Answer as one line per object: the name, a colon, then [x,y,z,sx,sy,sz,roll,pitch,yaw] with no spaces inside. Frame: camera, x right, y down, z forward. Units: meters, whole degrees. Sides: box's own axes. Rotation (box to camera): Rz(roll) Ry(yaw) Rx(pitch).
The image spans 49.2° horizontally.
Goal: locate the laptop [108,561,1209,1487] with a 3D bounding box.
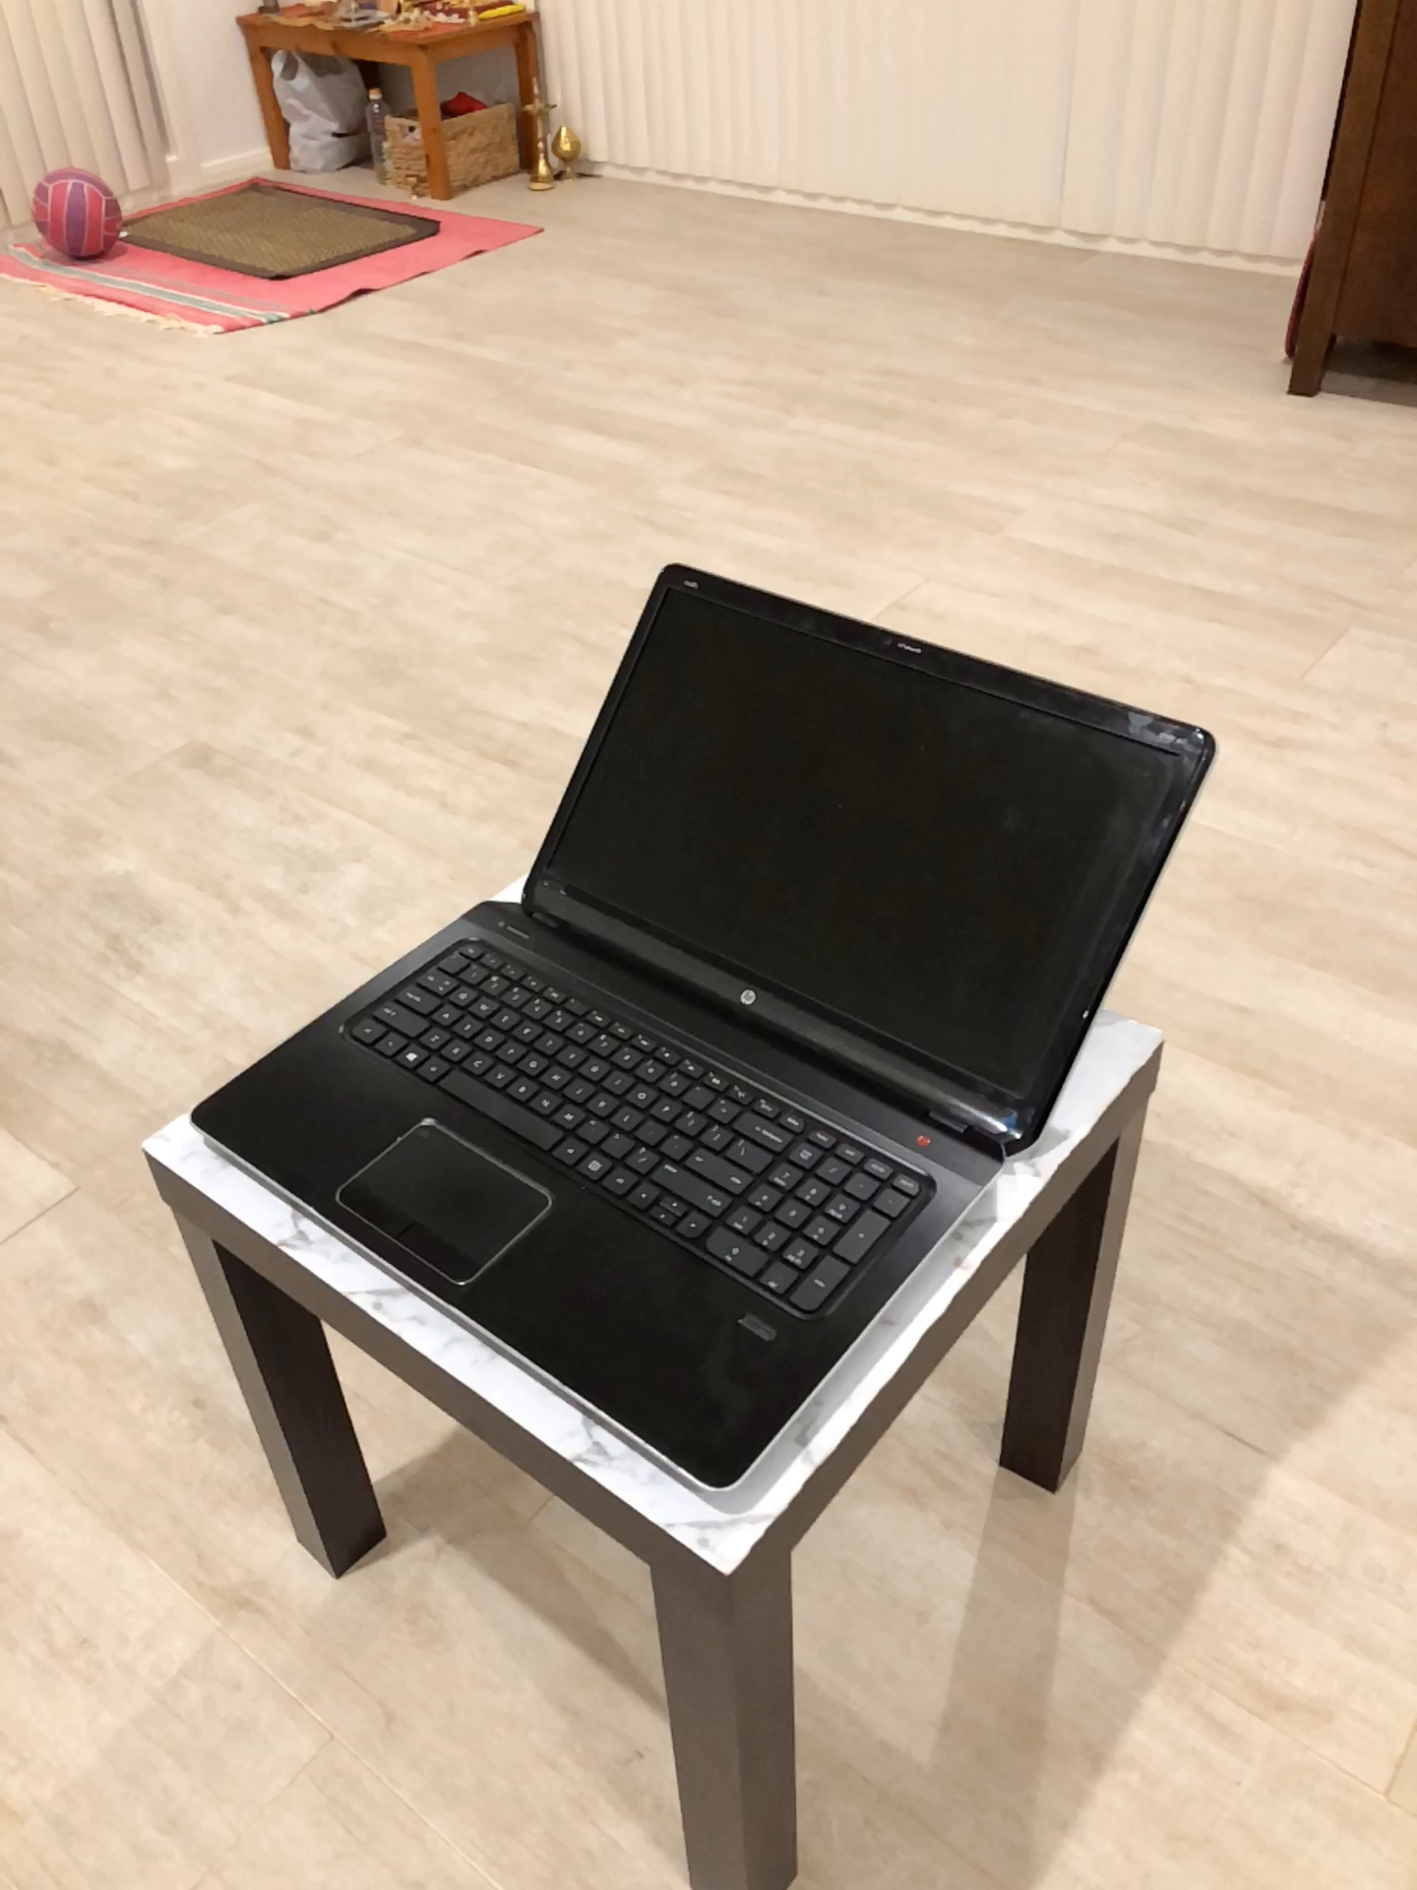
laptop: [-0.013,-0.008,0.866,0.387,0.169,0.439,26,47,31]
